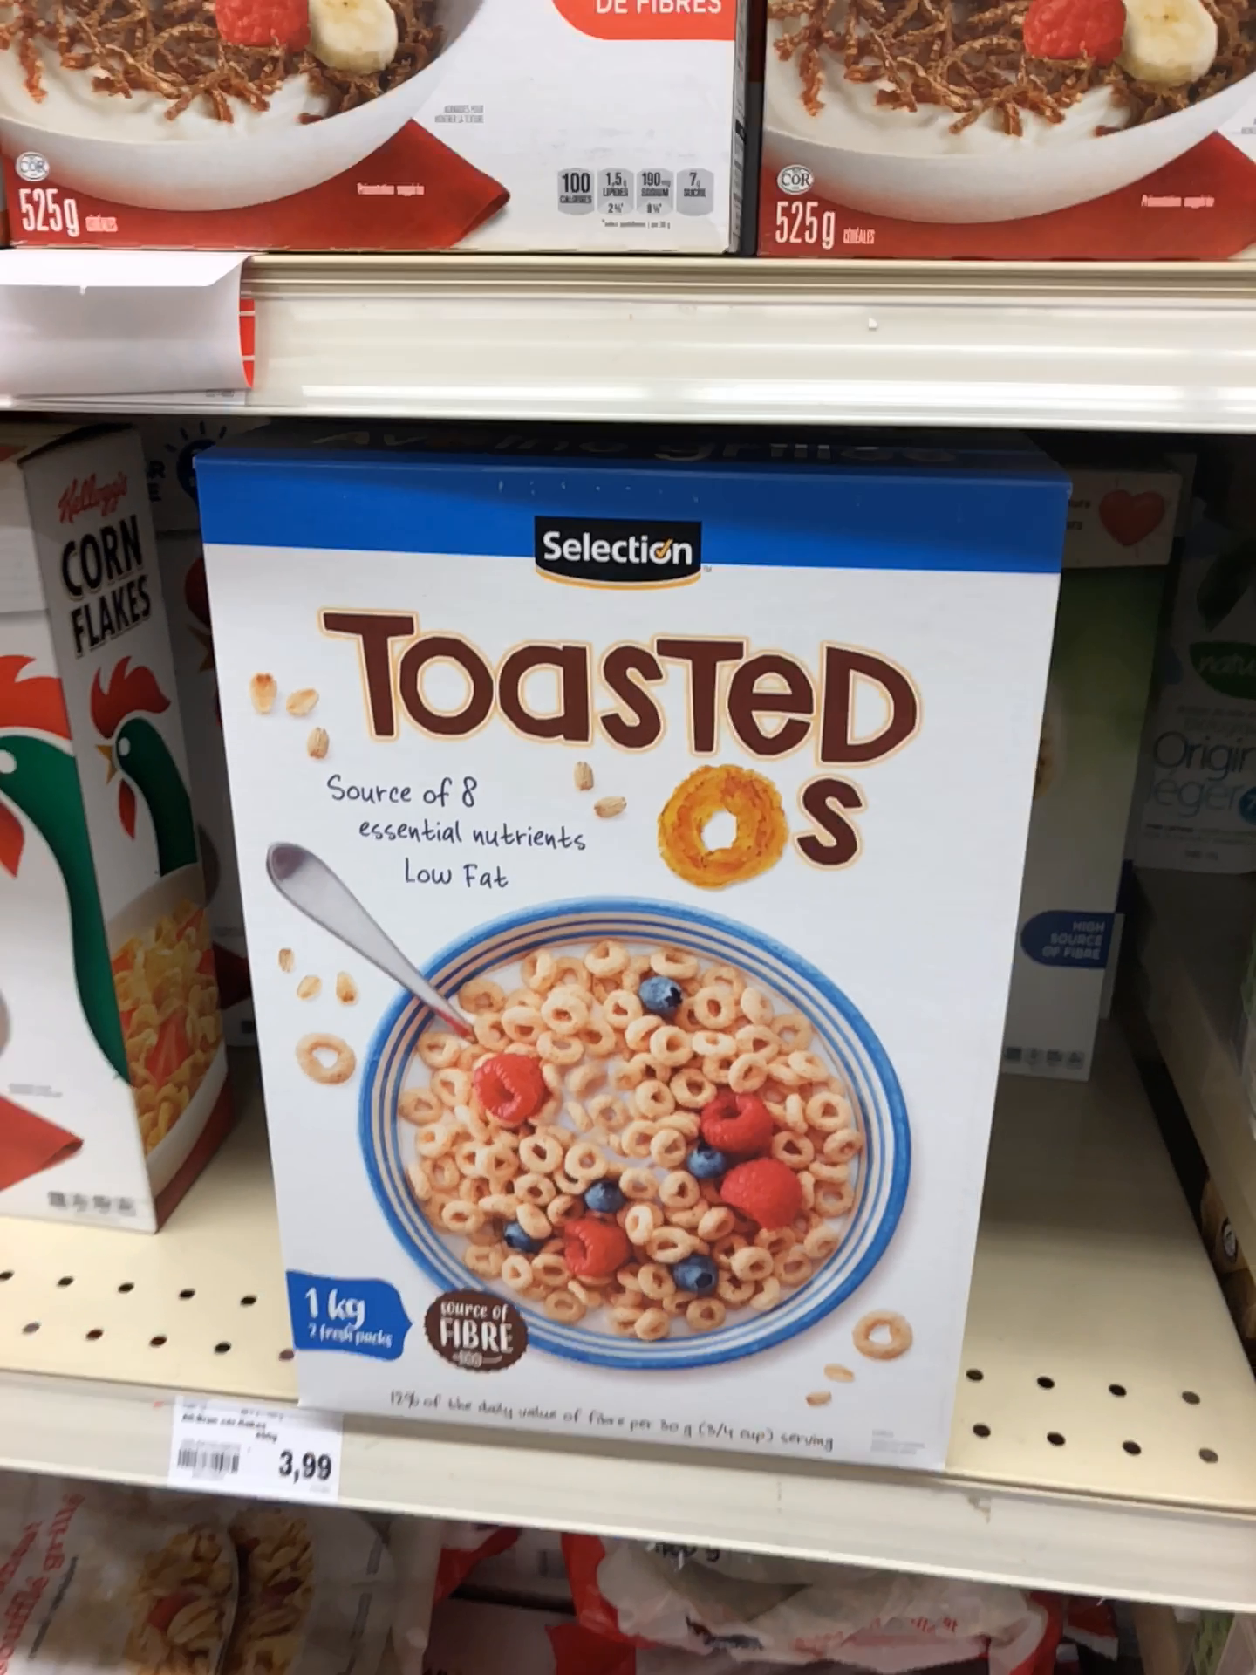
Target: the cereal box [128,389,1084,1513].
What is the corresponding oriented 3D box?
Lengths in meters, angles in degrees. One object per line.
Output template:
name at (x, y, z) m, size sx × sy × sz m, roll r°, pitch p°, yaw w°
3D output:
cereal box at (-0.002, 0.030, 0.482) m, size 0.240 × 0.338 × 0.161 m, roll 3°, pitch 22°, yaw 6°
